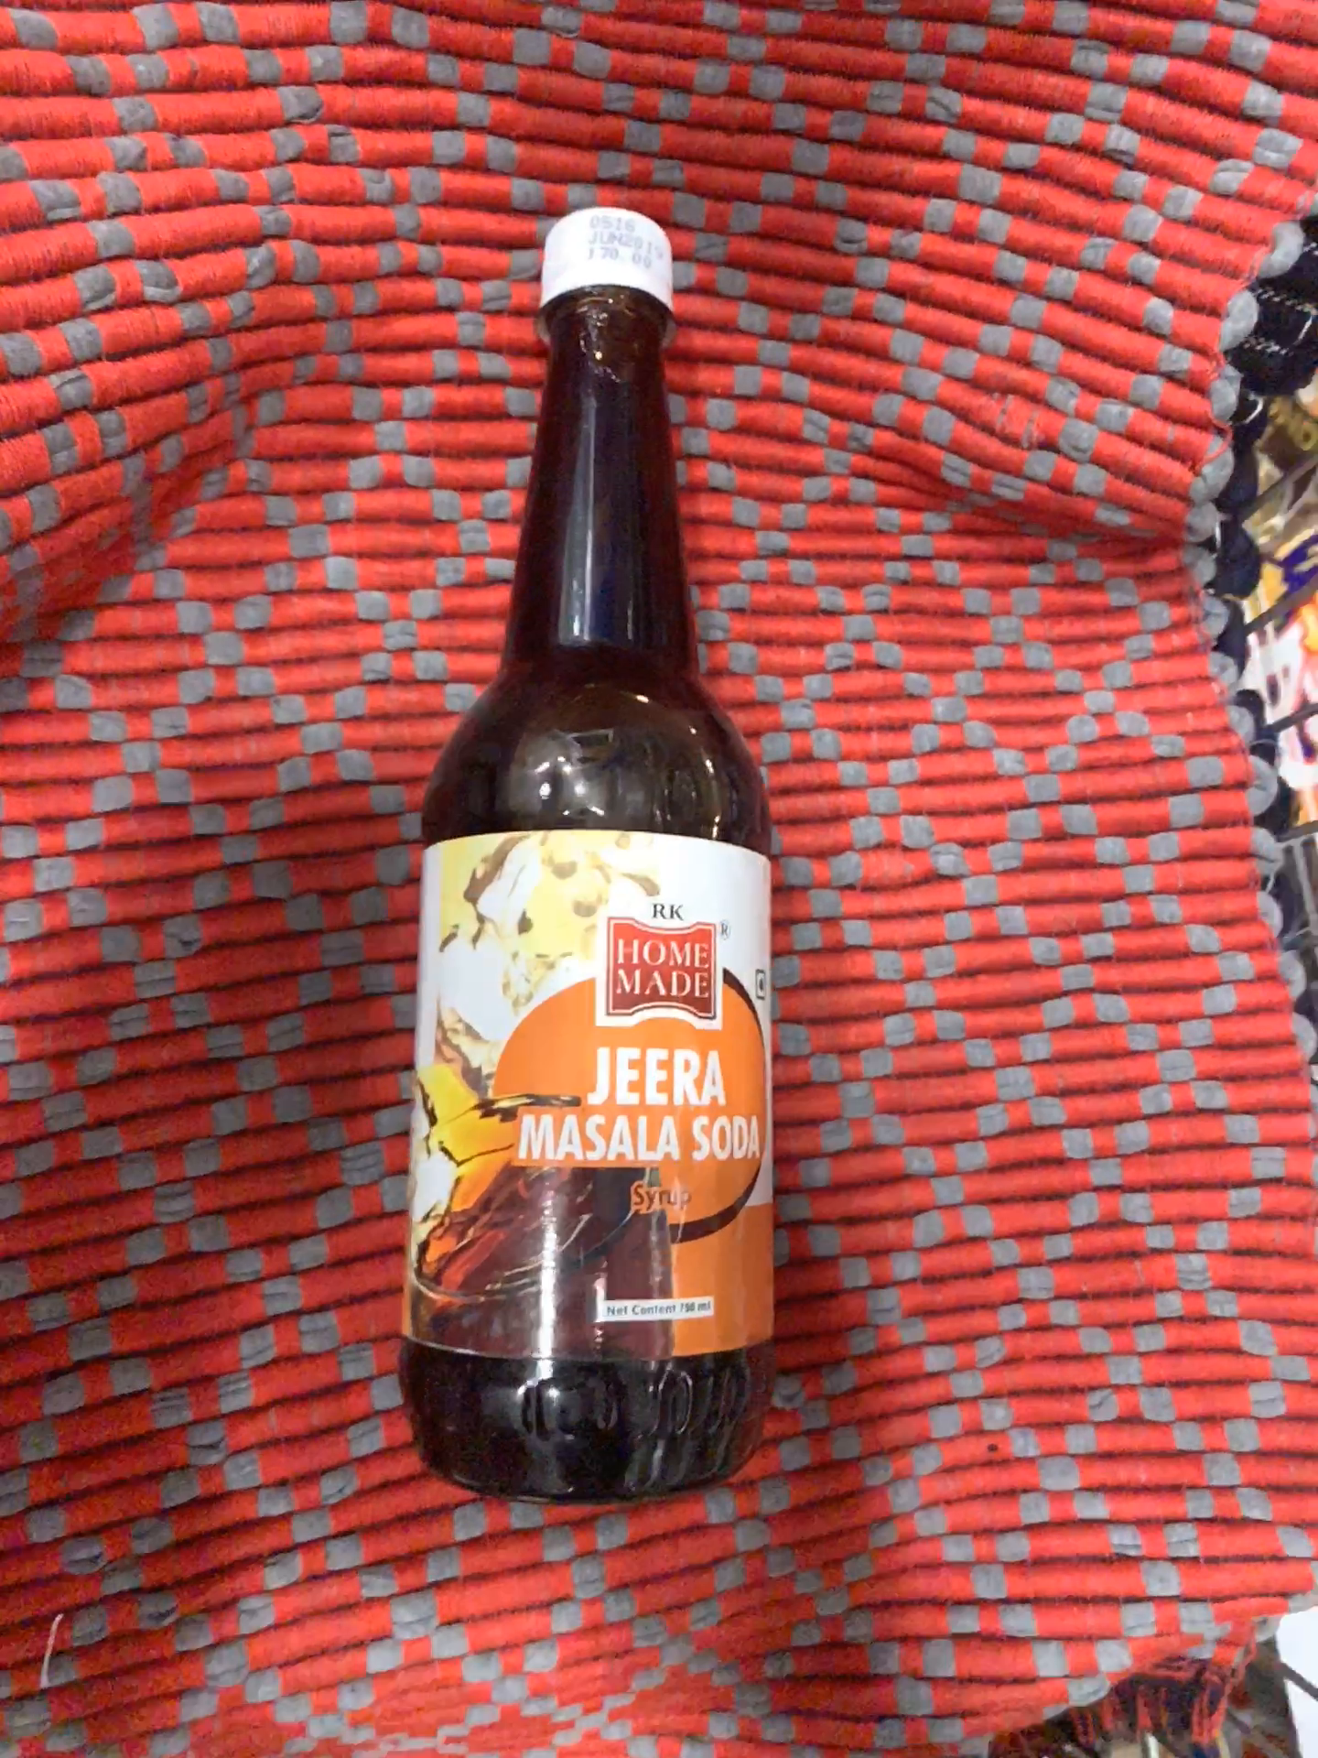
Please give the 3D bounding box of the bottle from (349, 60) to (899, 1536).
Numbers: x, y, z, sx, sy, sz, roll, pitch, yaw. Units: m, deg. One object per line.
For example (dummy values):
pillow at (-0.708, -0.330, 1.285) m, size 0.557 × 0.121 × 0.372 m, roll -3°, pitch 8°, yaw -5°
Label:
bottle at (-0.010, -0.018, 0.279) m, size 0.080 × 0.070 × 0.260 m, roll 6°, pitch 76°, yaw -24°
